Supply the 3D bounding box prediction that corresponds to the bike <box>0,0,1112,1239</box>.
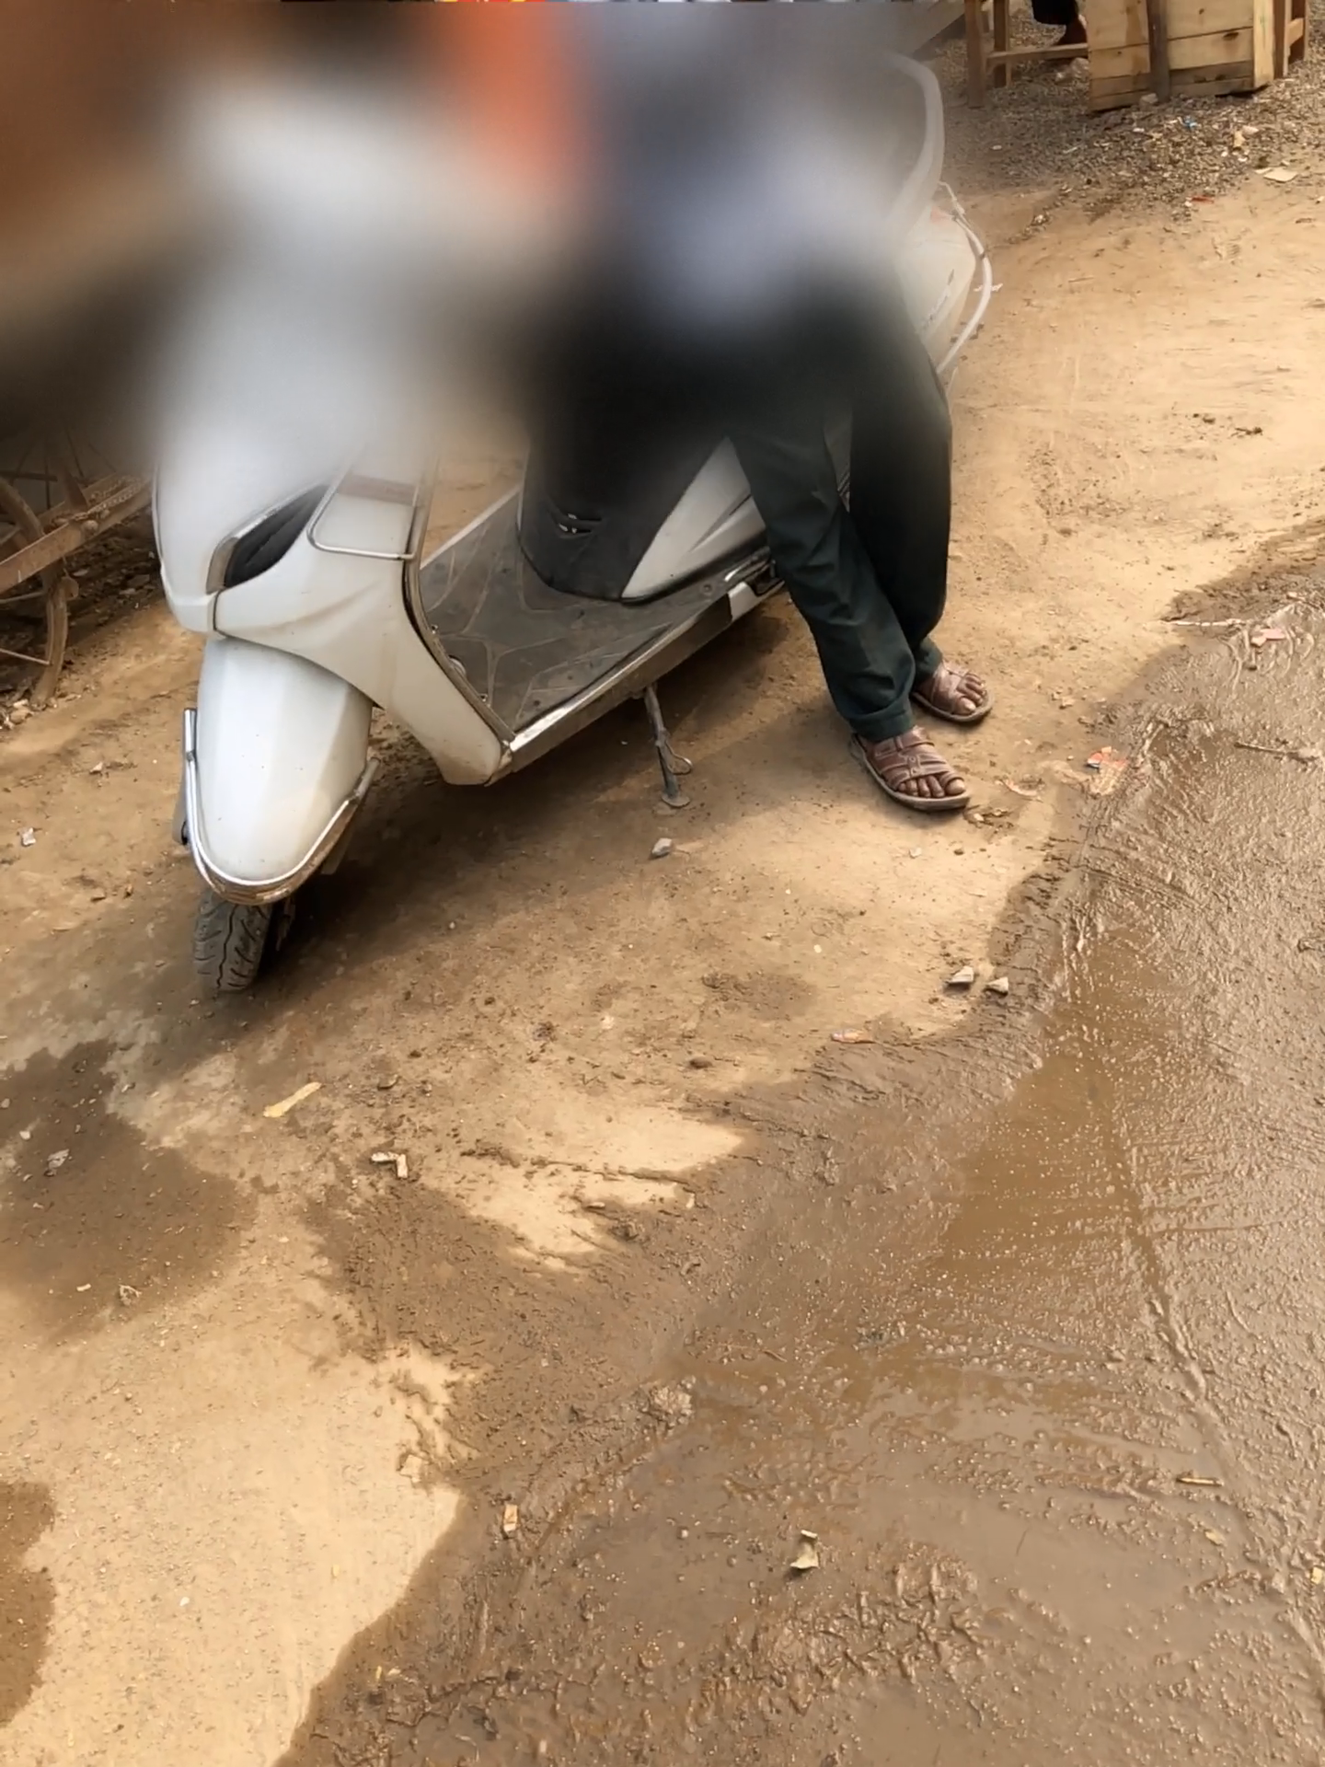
[{"bbox_3d":[-0.056,-0.578,2.012,0.656,1.112,1.582,21,52,37],"label":"bike"}]
